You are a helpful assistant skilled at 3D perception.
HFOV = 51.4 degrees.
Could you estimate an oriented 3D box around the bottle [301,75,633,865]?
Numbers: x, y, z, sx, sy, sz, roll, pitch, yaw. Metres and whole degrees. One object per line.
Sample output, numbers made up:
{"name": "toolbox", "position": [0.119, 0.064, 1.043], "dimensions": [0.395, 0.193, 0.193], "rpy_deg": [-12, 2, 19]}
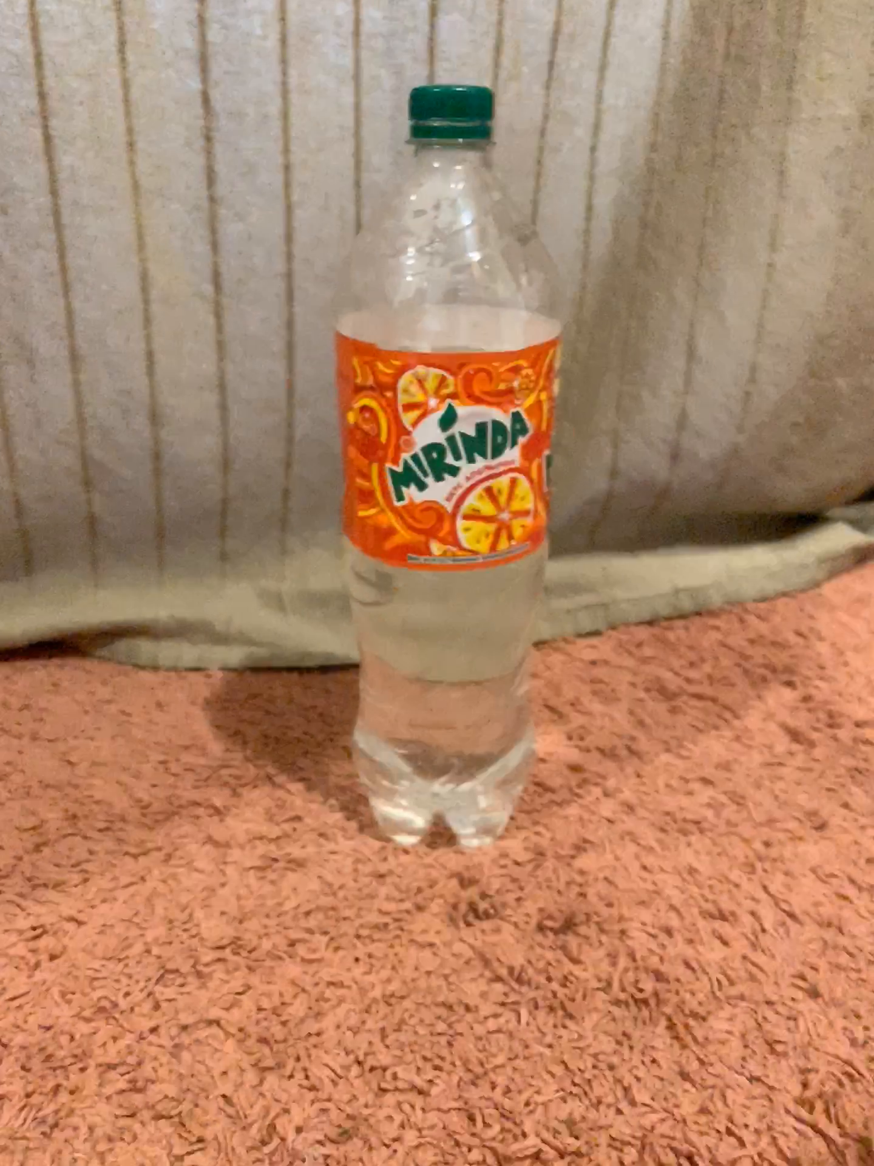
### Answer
{"name": "bottle", "position": [0.002, -0.038, 0.382], "dimensions": [0.100, 0.298, 0.101], "rpy_deg": [1, 25, 0]}
